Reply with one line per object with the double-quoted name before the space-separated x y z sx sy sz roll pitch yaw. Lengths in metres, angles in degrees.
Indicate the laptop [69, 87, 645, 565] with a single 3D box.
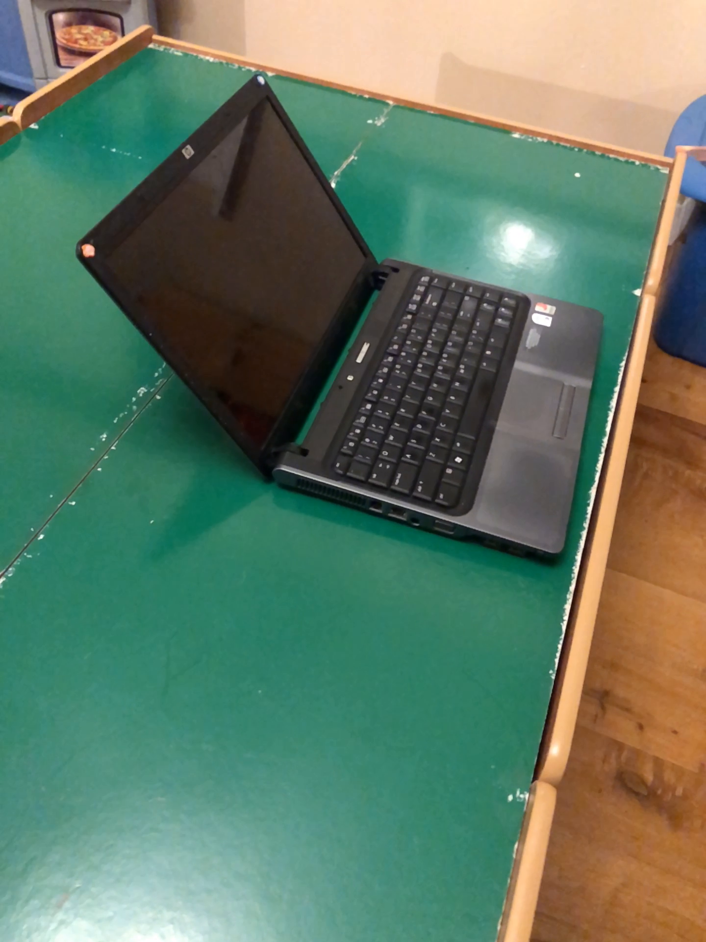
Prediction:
"laptop" 0.025 -0.148 0.673 0.374 0.172 0.324 16 49 9
